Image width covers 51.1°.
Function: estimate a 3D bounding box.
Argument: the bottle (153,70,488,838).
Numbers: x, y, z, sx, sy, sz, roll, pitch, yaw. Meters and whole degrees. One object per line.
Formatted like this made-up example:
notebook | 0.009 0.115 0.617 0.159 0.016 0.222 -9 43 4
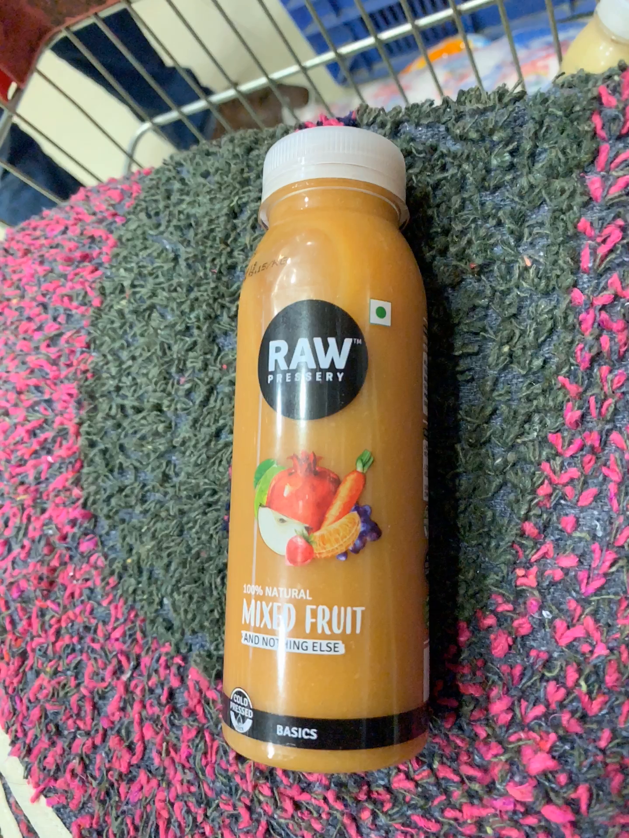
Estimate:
bottle | 0.008 0.006 0.159 0.060 0.060 0.150 1 81 10
